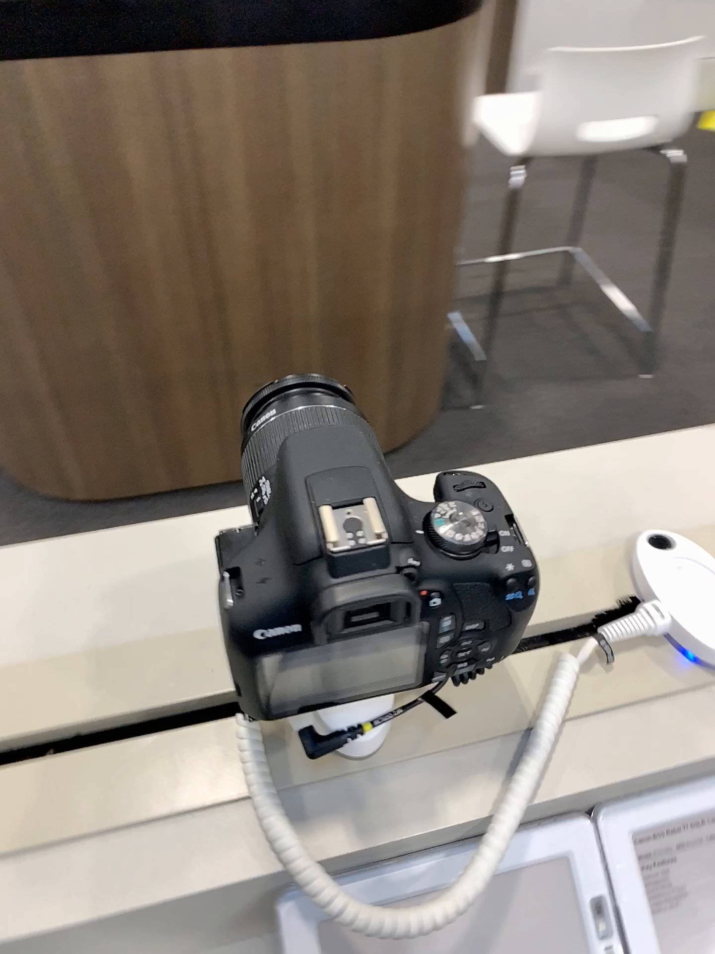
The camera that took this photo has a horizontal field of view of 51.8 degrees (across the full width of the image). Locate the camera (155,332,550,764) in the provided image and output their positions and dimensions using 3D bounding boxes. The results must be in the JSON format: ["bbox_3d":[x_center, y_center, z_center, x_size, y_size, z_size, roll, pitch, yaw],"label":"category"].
[{"bbox_3d":[-0.013,0.026,0.339,0.134,0.101,0.146,-9,47,-9],"label":"camera"}]
